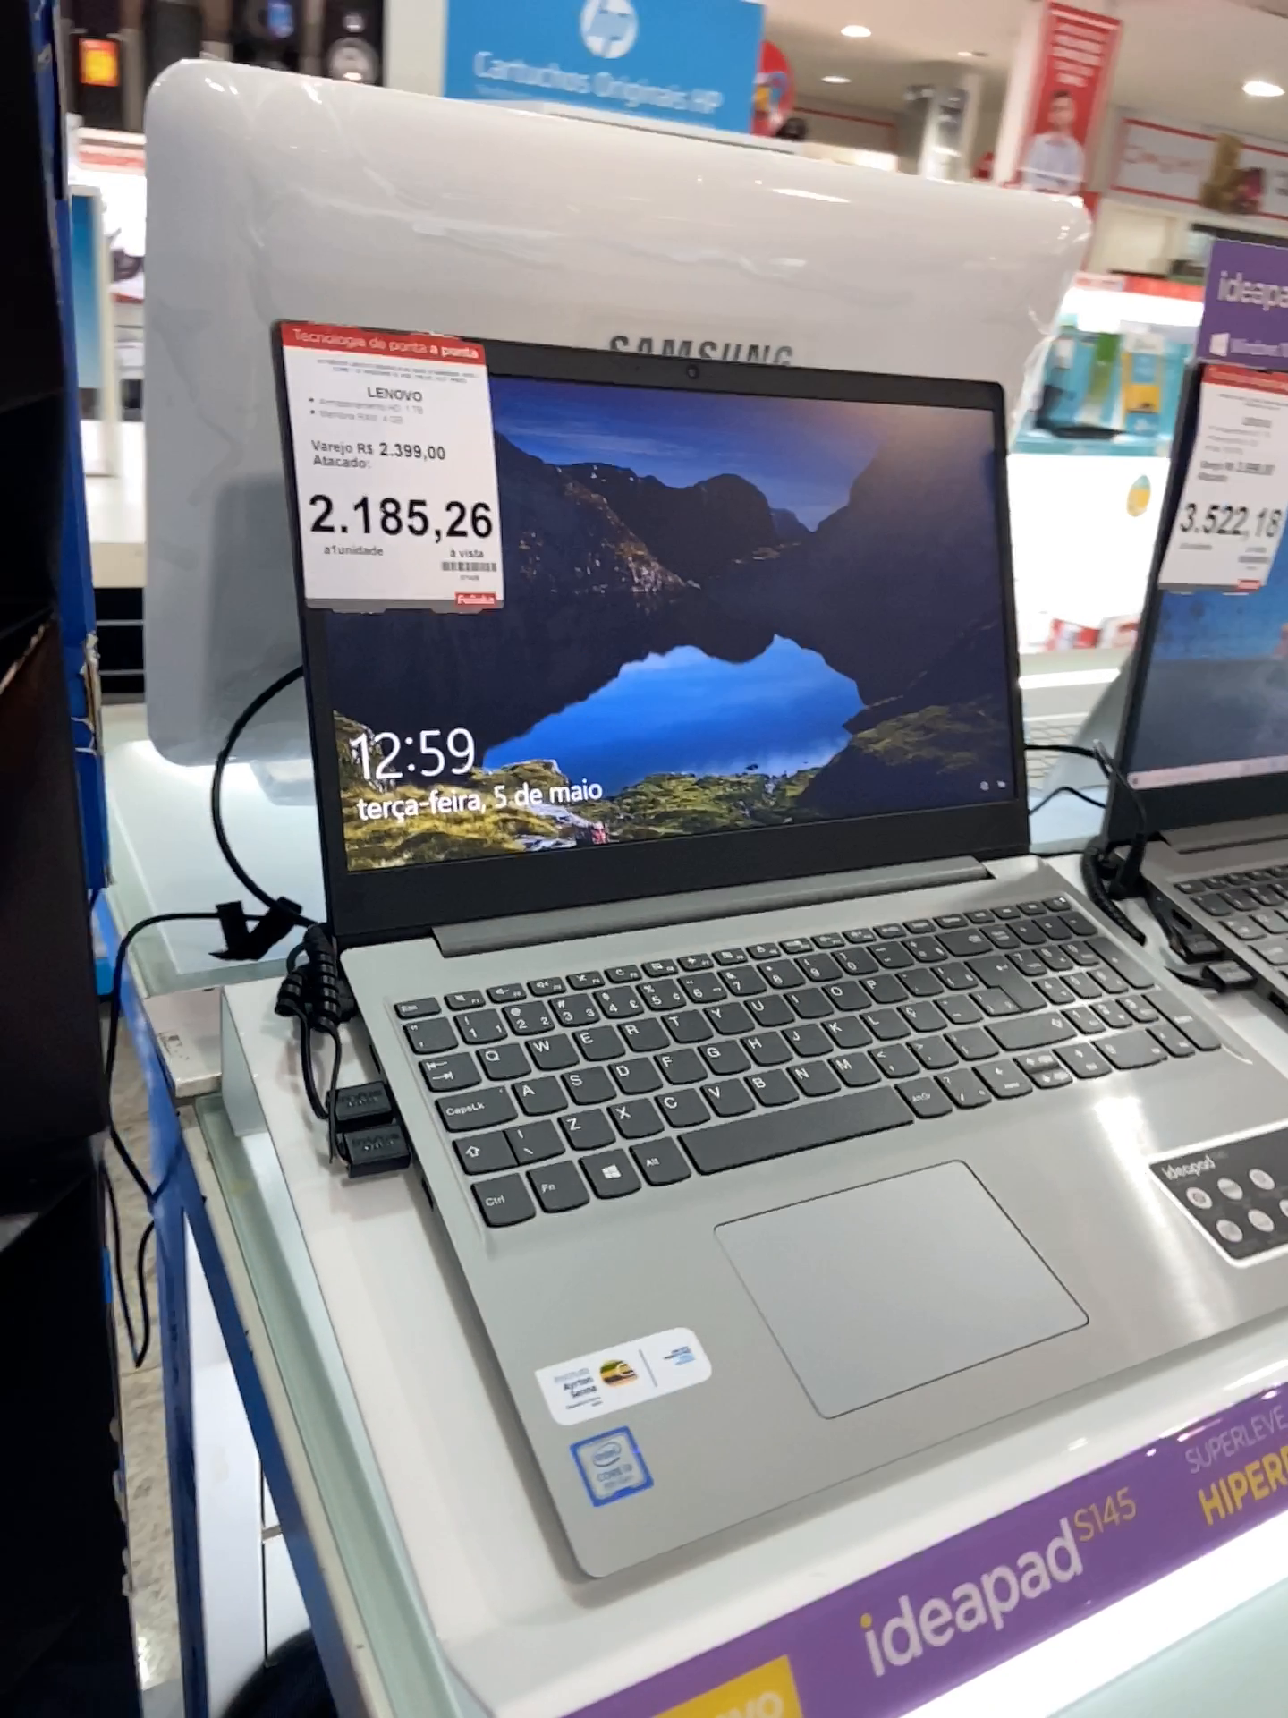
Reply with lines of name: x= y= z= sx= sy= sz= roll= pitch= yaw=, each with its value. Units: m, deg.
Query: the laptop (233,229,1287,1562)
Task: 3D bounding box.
laptop: x=0.071 y=-0.052 z=0.503 sx=0.359 sy=0.212 sz=0.389 roll=-6 pitch=35 yaw=-27
